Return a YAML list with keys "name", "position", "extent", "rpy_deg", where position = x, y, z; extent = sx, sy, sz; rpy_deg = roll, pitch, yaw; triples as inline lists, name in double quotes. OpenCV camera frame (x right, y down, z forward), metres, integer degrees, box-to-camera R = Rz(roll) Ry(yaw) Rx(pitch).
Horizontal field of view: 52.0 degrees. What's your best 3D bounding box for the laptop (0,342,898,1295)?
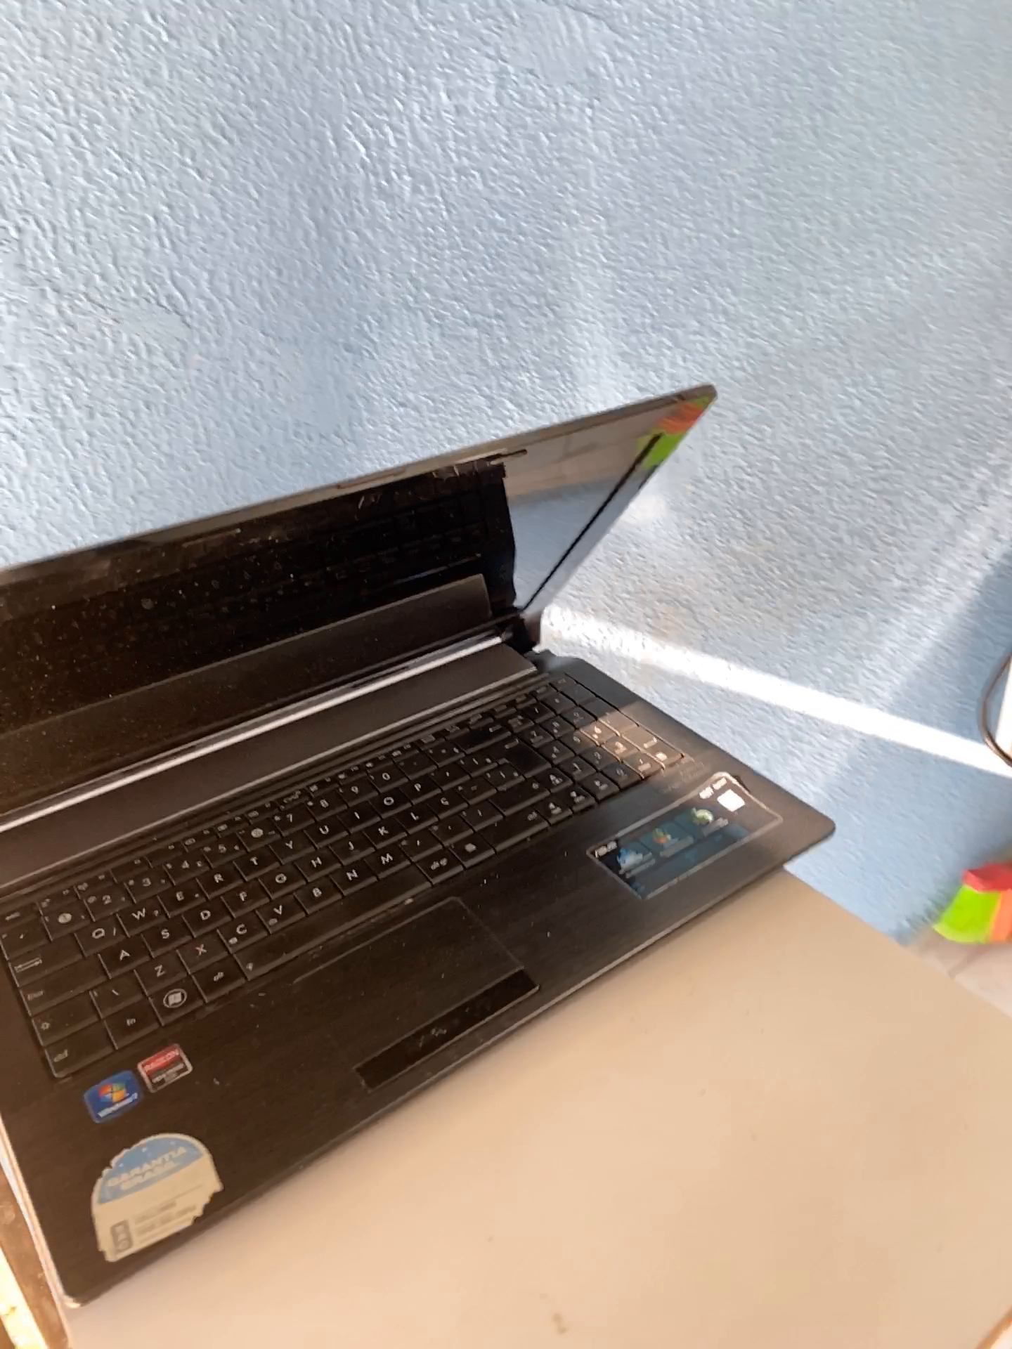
- name: "laptop"
  position: [-0.060, 0.002, 0.480]
  extent: [0.388, 0.208, 0.255]
  rpy_deg: [-21, 34, -30]
